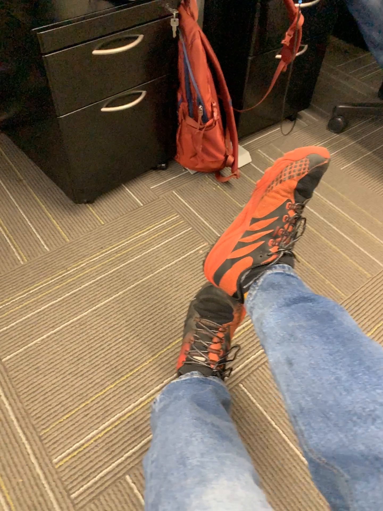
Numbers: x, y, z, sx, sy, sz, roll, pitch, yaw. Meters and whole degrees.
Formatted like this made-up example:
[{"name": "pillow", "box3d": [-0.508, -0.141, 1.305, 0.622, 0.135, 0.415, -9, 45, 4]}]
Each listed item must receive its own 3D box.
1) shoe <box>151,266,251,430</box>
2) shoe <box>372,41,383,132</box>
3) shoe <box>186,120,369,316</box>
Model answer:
[{"name": "shoe", "box3d": [0.025, 0.182, 0.828, 0.129, 0.135, 0.289, 14, 92, 7]}, {"name": "shoe", "box3d": [0.970, -0.692, 1.650, 0.155, 0.356, 0.164, -33, 92, -9]}, {"name": "shoe", "box3d": [0.145, -0.060, 0.707, 0.143, 0.303, 0.118, 45, 28, 21]}]
